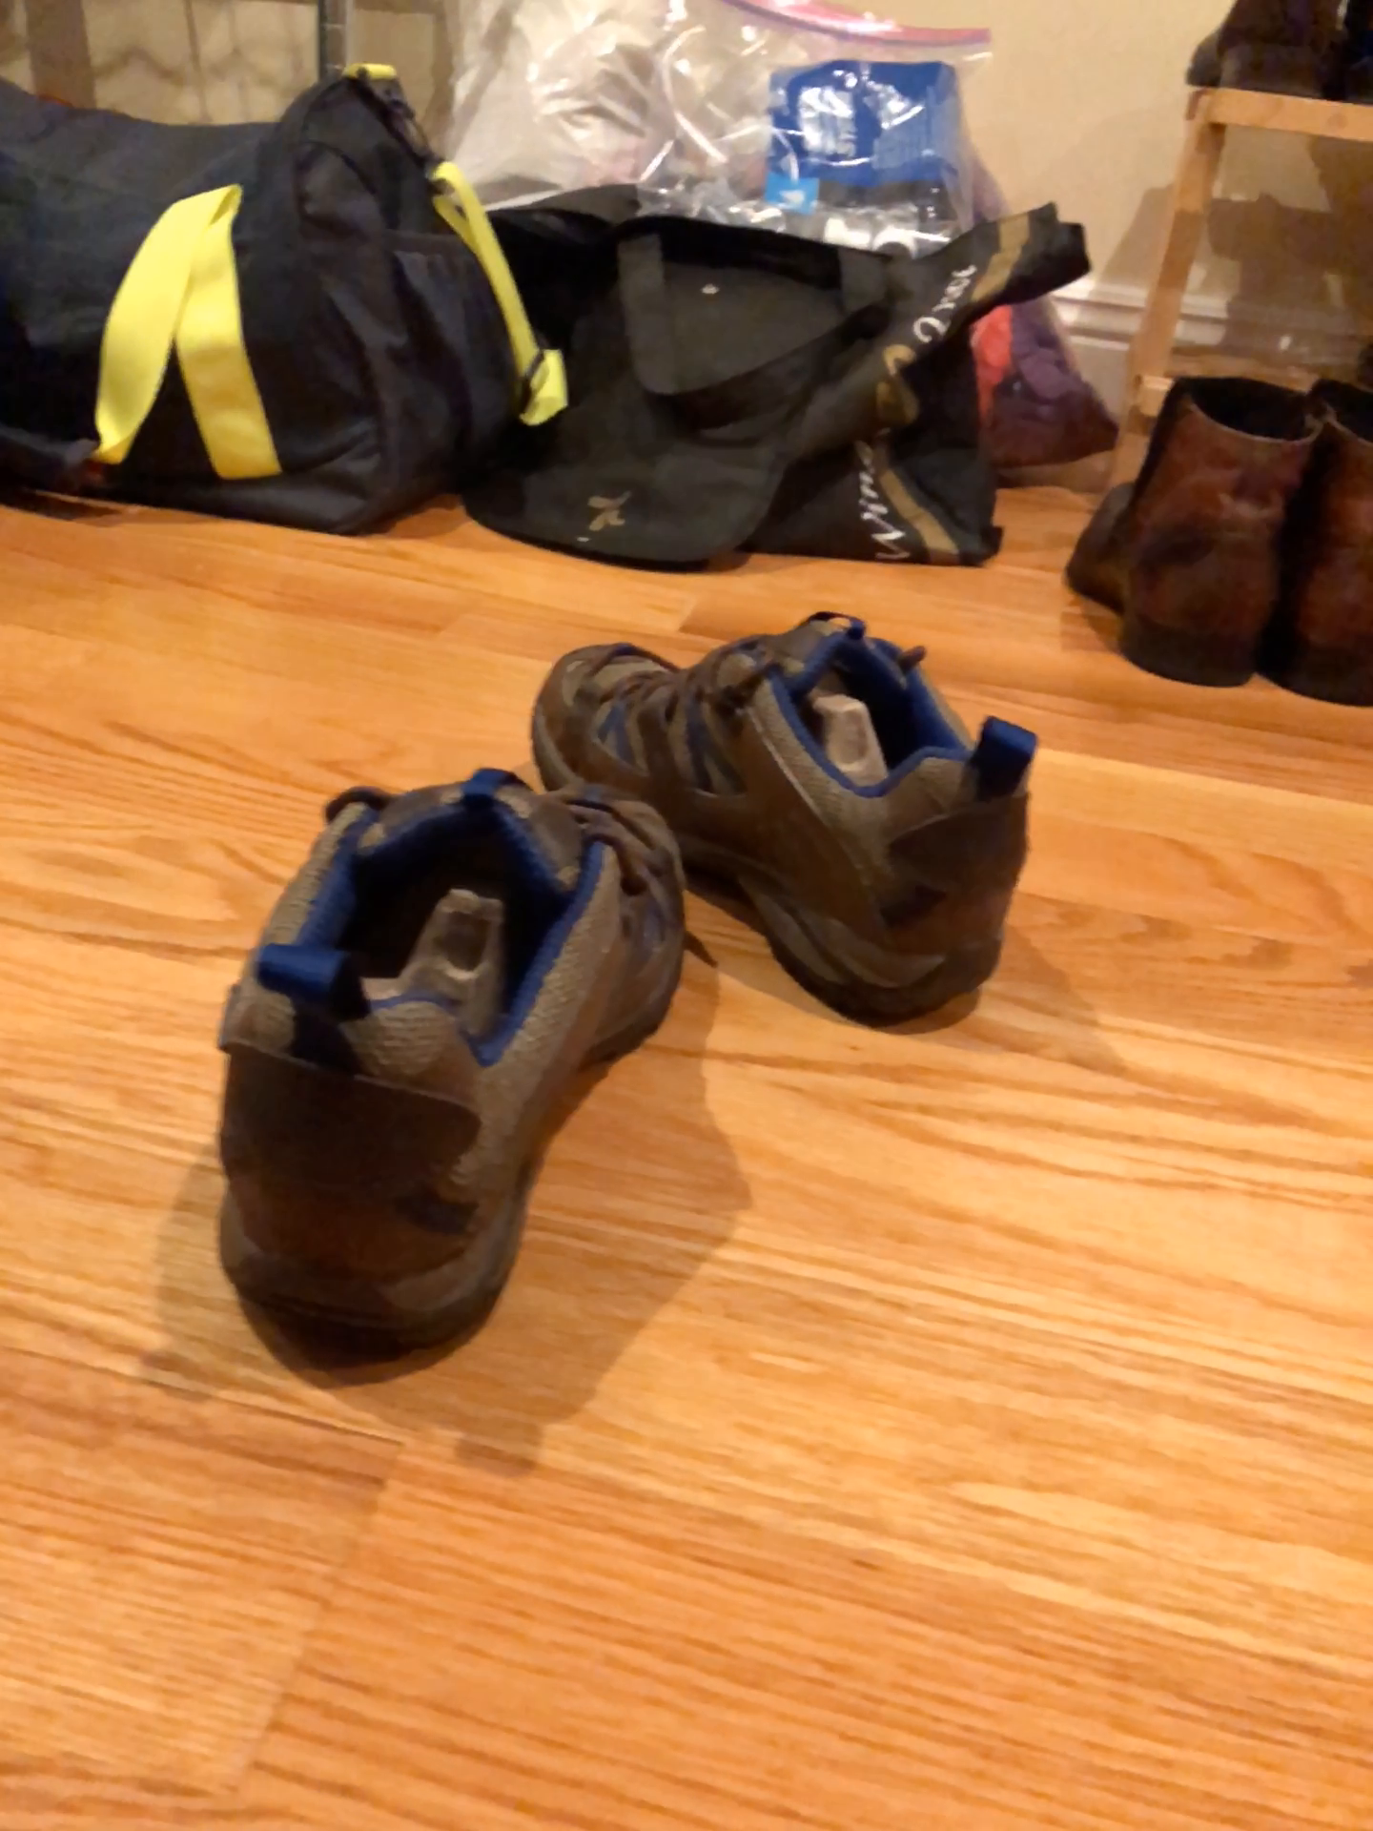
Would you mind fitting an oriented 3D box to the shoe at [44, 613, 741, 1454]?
[{"bbox_3d":[-0.060,0.009,0.420,0.094,0.106,0.241,11,29,8],"label":"shoe"}]

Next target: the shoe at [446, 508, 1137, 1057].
[{"bbox_3d":[0.021,-0.064,0.548,0.097,0.094,0.252,-16,36,-35],"label":"shoe"}]
